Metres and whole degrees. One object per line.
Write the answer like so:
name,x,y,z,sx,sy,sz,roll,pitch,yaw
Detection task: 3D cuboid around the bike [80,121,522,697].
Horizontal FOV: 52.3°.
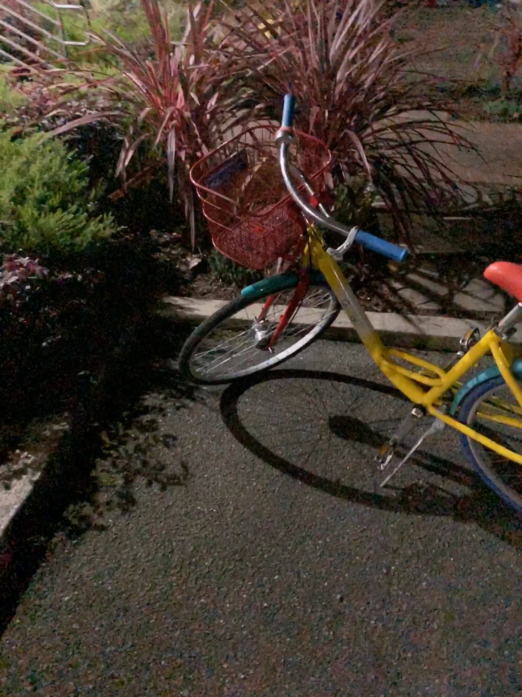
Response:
bike,0.402,0.063,1.455,1.585,1.085,0.602,16,38,24
